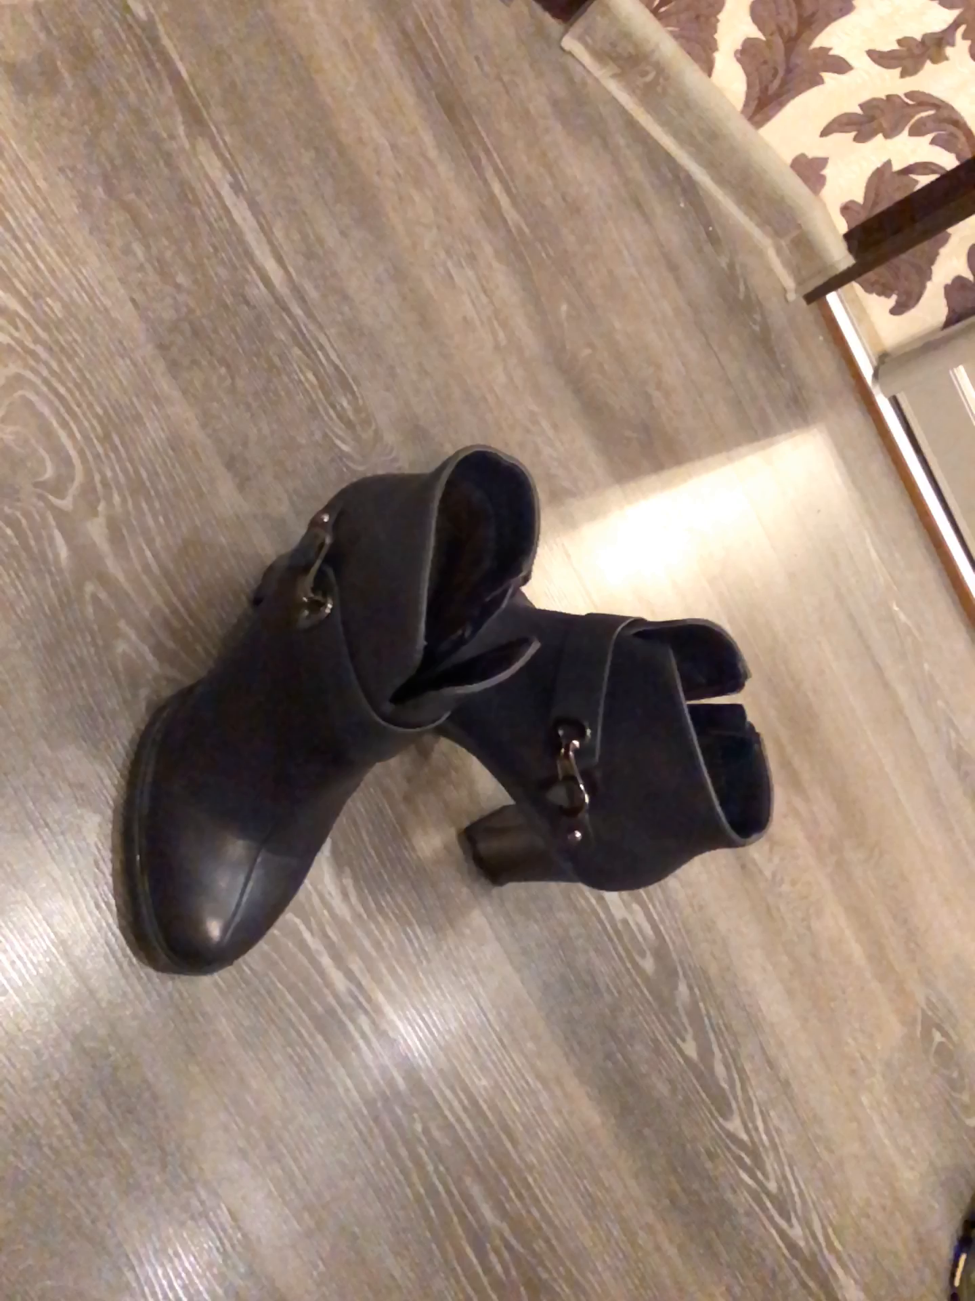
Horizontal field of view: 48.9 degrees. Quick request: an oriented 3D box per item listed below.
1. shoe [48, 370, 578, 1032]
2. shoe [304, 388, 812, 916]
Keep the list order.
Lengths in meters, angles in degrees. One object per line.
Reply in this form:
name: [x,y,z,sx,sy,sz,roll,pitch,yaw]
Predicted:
shoe: [-0.075,0.031,0.439,0.090,0.189,0.211,25,64,-29]
shoe: [0.023,0.012,0.528,0.090,0.189,0.210,-17,89,-38]
